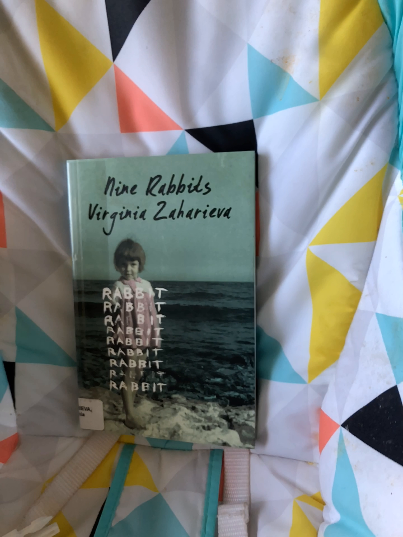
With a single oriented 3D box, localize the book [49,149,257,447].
[{"bbox_3d":[-0.034,0.021,0.327,0.145,0.025,0.200,0,95,12],"label":"book"}]
